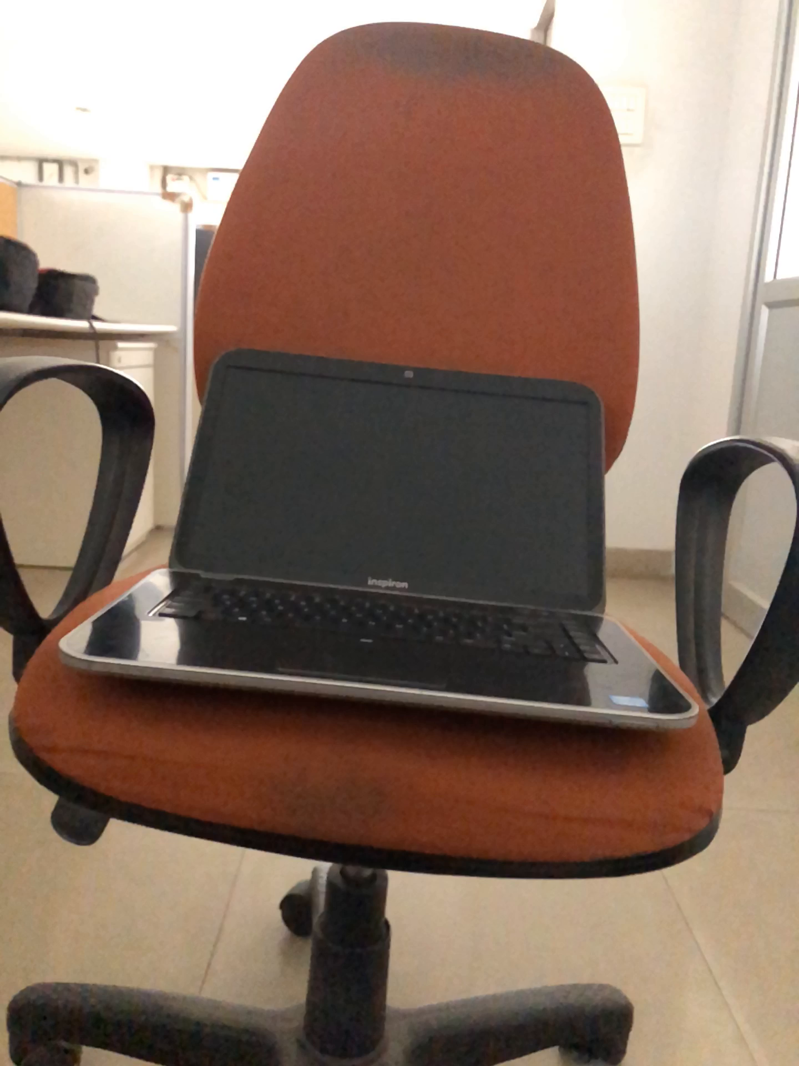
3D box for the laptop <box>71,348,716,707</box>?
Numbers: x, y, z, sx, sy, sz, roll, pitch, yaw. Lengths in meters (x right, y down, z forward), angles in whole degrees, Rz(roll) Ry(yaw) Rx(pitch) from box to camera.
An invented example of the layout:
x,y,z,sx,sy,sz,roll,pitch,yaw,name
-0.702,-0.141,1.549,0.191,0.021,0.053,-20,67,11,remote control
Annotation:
x,y,z,sx,sy,sz,roll,pitch,yaw,name
-0.008,-0.038,0.668,0.352,0.173,0.352,4,12,2,laptop
